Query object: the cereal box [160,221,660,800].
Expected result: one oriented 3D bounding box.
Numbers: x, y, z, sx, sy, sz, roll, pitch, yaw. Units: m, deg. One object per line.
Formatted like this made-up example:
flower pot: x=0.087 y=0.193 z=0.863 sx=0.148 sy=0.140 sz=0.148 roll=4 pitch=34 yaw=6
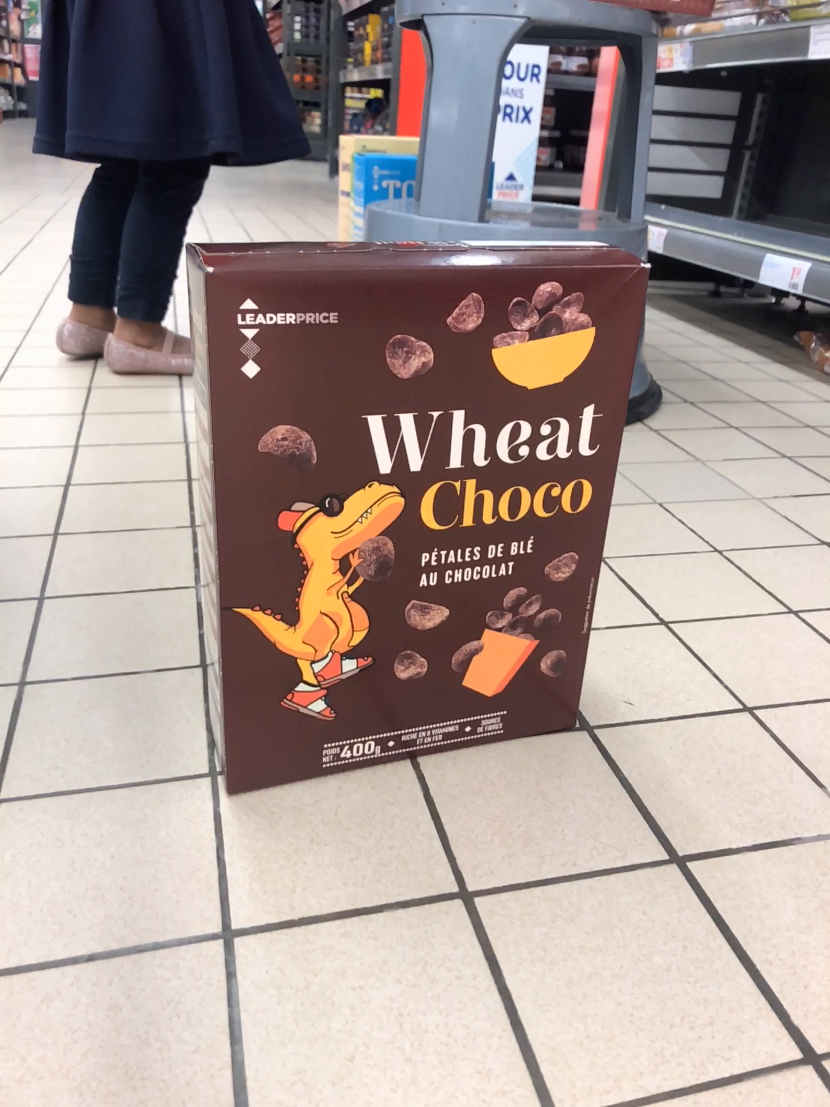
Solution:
cereal box: x=-0.008 y=-0.022 z=0.438 sx=0.200 sy=0.249 sz=0.070 roll=-6 pitch=26 yaw=-19
